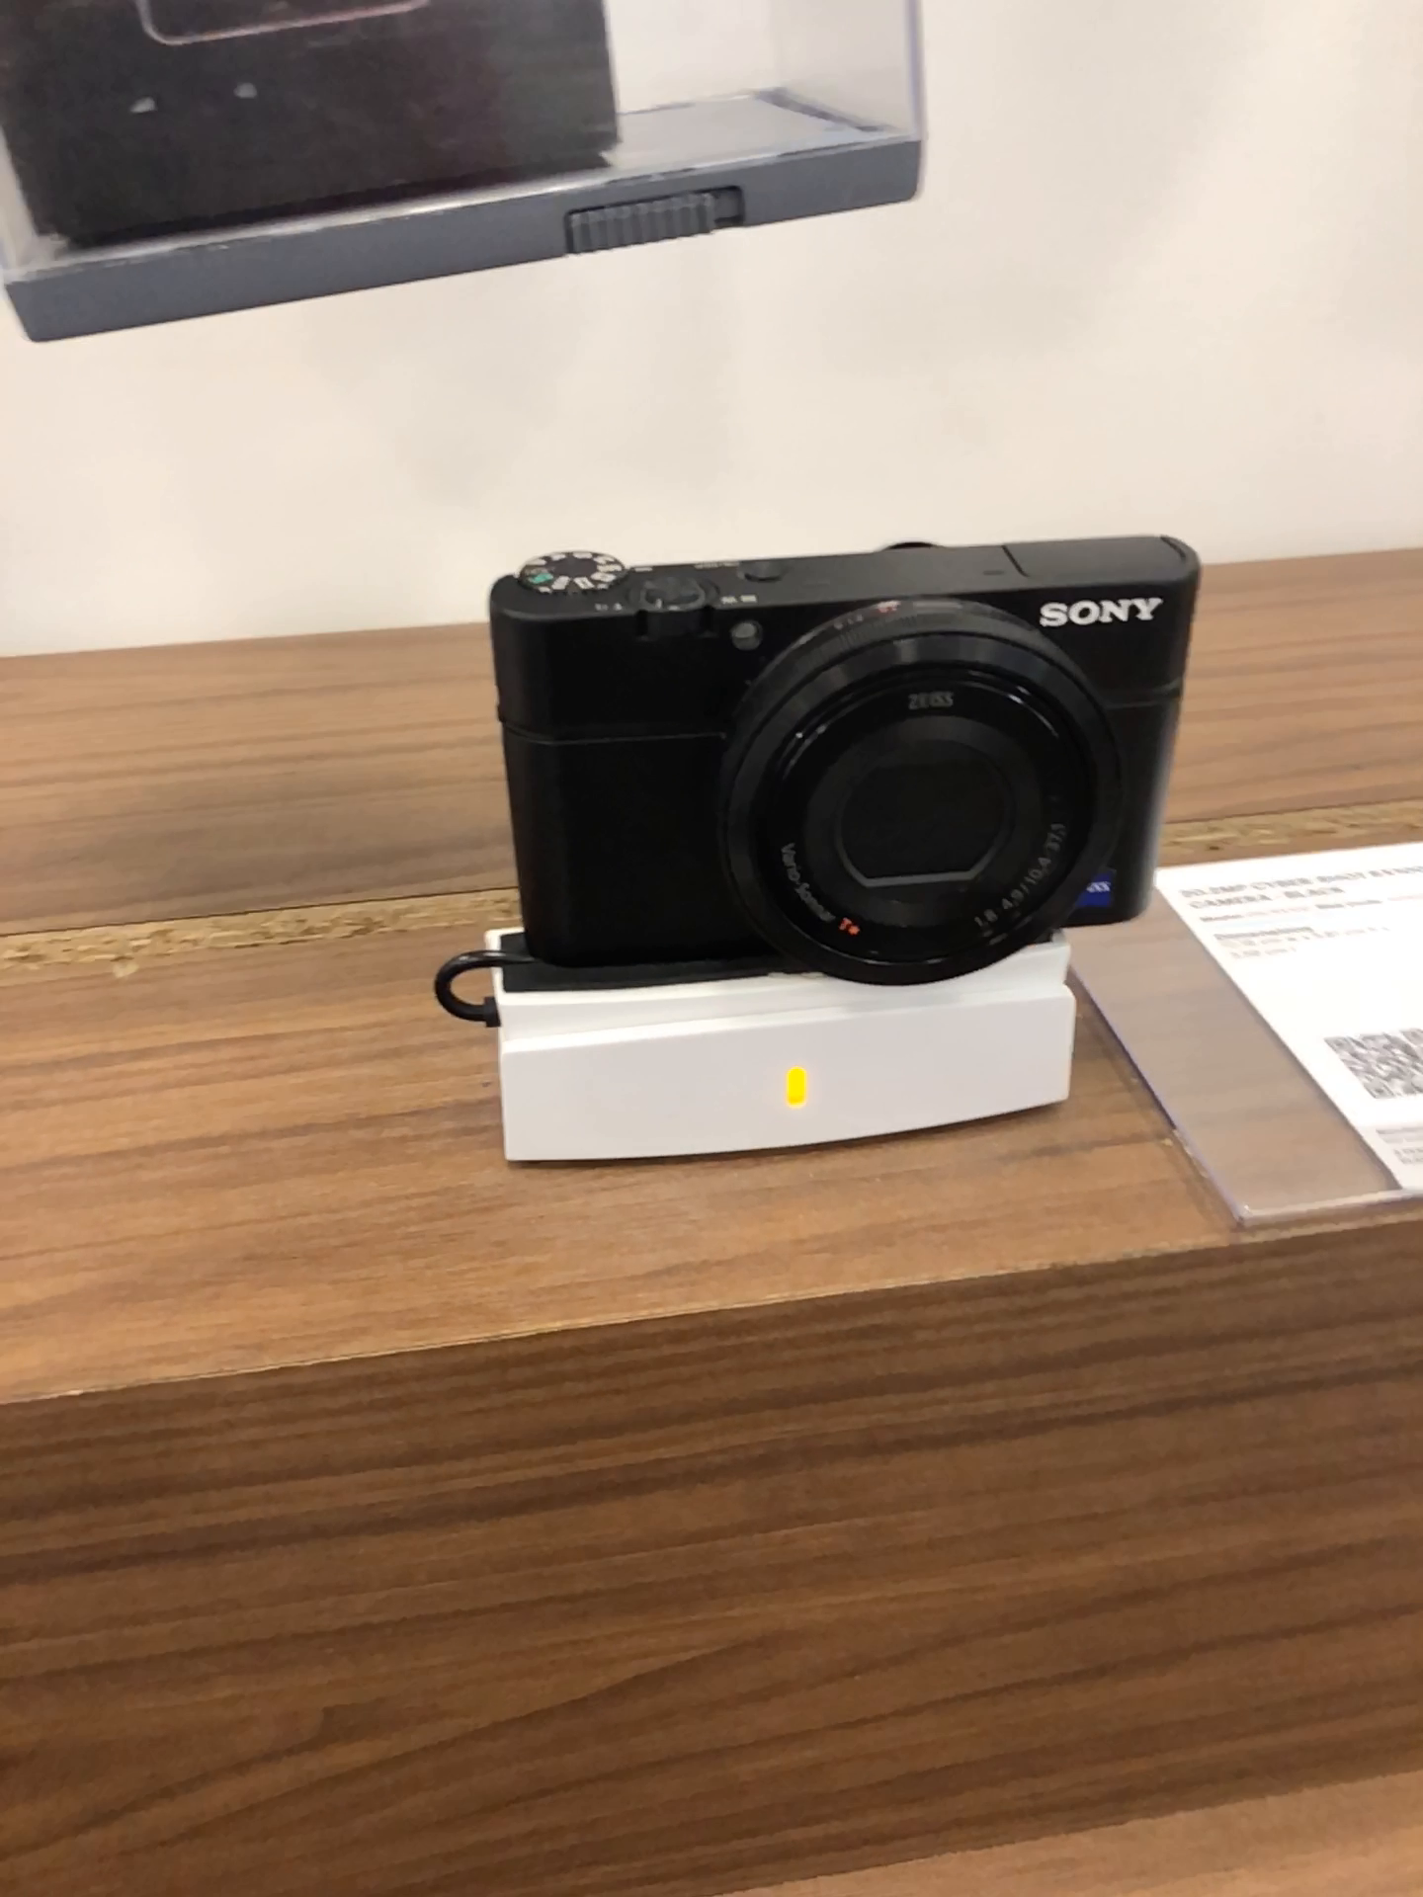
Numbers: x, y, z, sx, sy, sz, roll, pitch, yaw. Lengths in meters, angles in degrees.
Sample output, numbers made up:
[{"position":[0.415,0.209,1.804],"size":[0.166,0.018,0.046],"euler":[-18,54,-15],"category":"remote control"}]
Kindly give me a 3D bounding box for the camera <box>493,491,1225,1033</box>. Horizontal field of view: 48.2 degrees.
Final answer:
[{"position":[0.020,-0.028,0.246],"size":[0.100,0.070,0.030],"euler":[-5,35,-5],"category":"camera"}]
